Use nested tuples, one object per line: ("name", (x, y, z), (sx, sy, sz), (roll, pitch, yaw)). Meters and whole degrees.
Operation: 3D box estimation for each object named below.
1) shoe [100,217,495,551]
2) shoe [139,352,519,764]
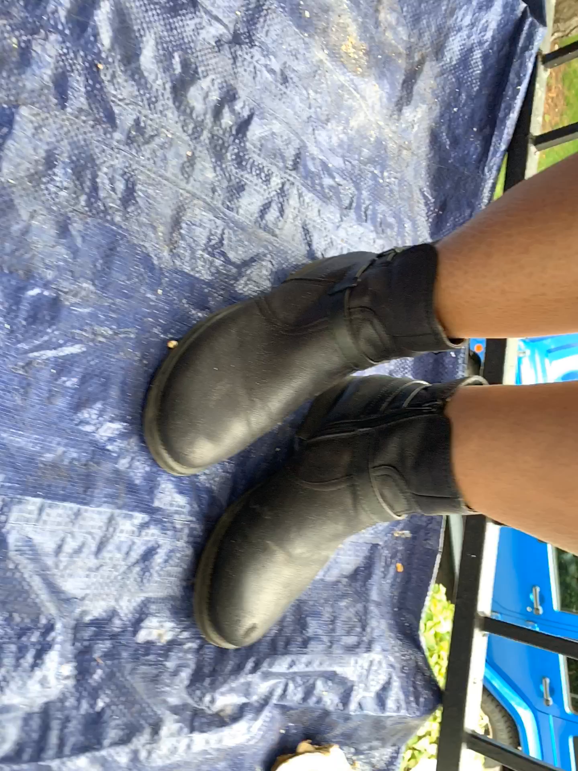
("shoe", (0.024, -0.018, 0.453), (0.281, 0.129, 0.100), (-39, 114, -36))
("shoe", (0.049, 0.097, 0.443), (0.281, 0.109, 0.110), (-41, 115, -35))
